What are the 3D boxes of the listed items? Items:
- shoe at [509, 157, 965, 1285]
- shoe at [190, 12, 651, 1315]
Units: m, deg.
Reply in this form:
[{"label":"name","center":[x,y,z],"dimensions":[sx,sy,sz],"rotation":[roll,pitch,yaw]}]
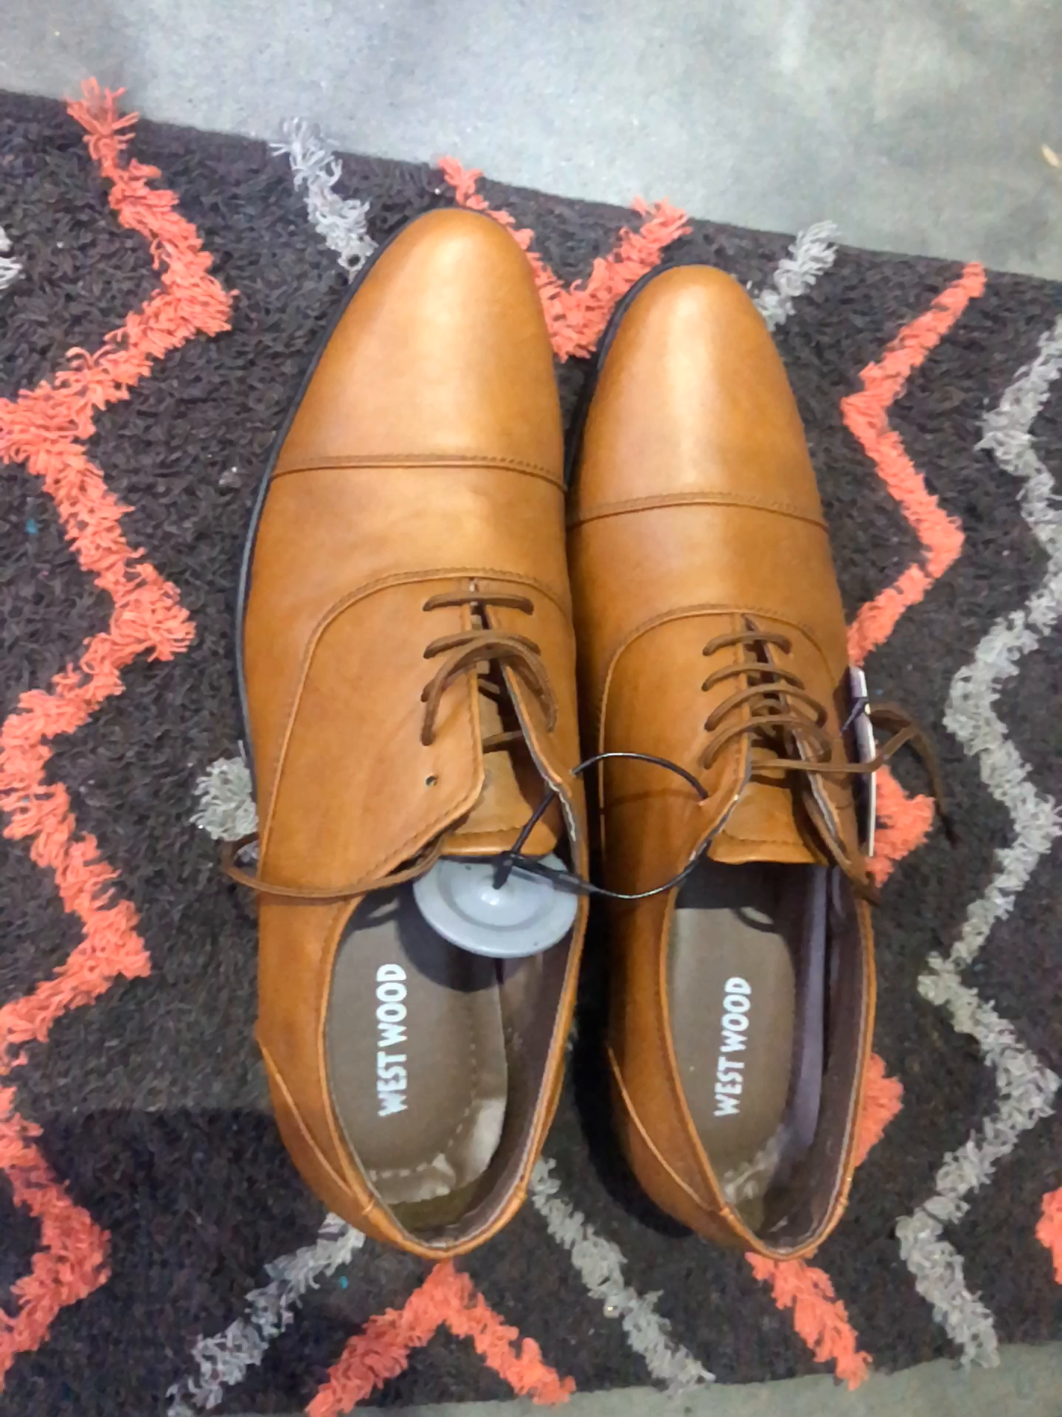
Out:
[{"label":"shoe","center":[0.059,0.004,0.366],"dimensions":[0.110,0.080,0.300],"rotation":[1,90,-15]},{"label":"shoe","center":[-0.034,-0.010,0.329],"dimensions":[0.110,0.070,0.310],"rotation":[1,90,-15]}]
